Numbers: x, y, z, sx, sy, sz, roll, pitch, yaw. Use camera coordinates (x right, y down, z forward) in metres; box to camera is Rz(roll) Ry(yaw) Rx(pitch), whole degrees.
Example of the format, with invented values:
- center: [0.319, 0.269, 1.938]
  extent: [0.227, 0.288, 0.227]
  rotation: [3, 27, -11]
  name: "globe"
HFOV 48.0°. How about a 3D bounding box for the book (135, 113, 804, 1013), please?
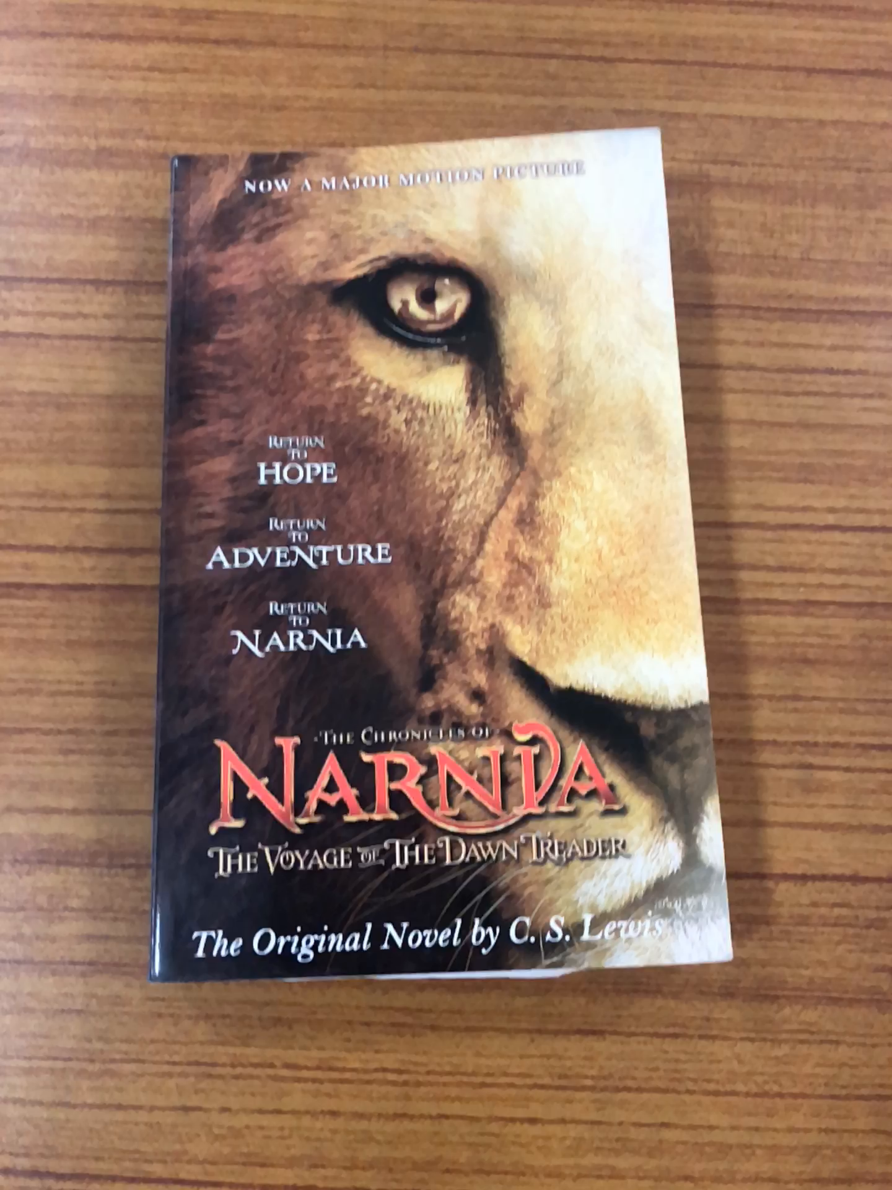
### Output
- center: [0.001, -0.012, 0.213]
  extent: [0.120, 0.030, 0.180]
  rotation: [-2, 78, -2]
  name: "book"
